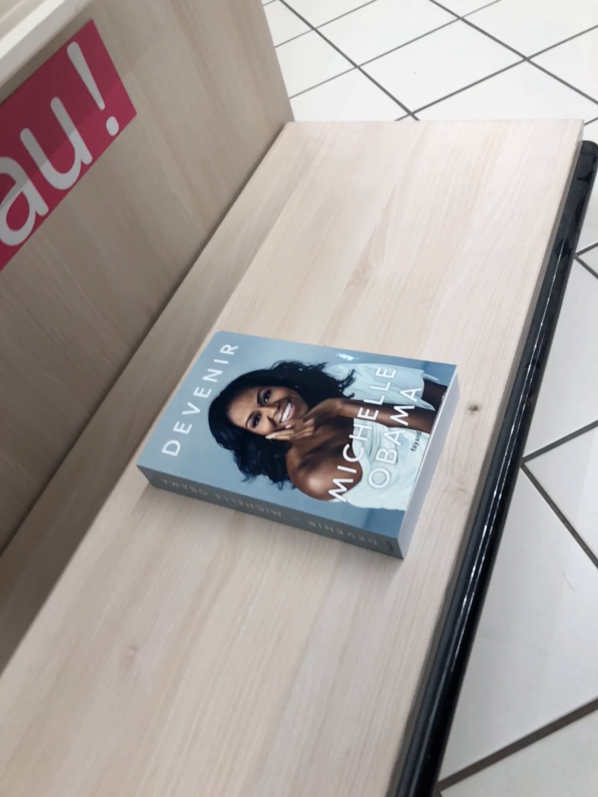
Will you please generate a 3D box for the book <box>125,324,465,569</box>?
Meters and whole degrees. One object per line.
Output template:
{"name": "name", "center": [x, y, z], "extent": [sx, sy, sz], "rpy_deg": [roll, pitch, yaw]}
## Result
{"name": "book", "center": [-0.002, 0.026, 0.554], "extent": [0.240, 0.040, 0.164], "rpy_deg": [12, 57, 24]}
